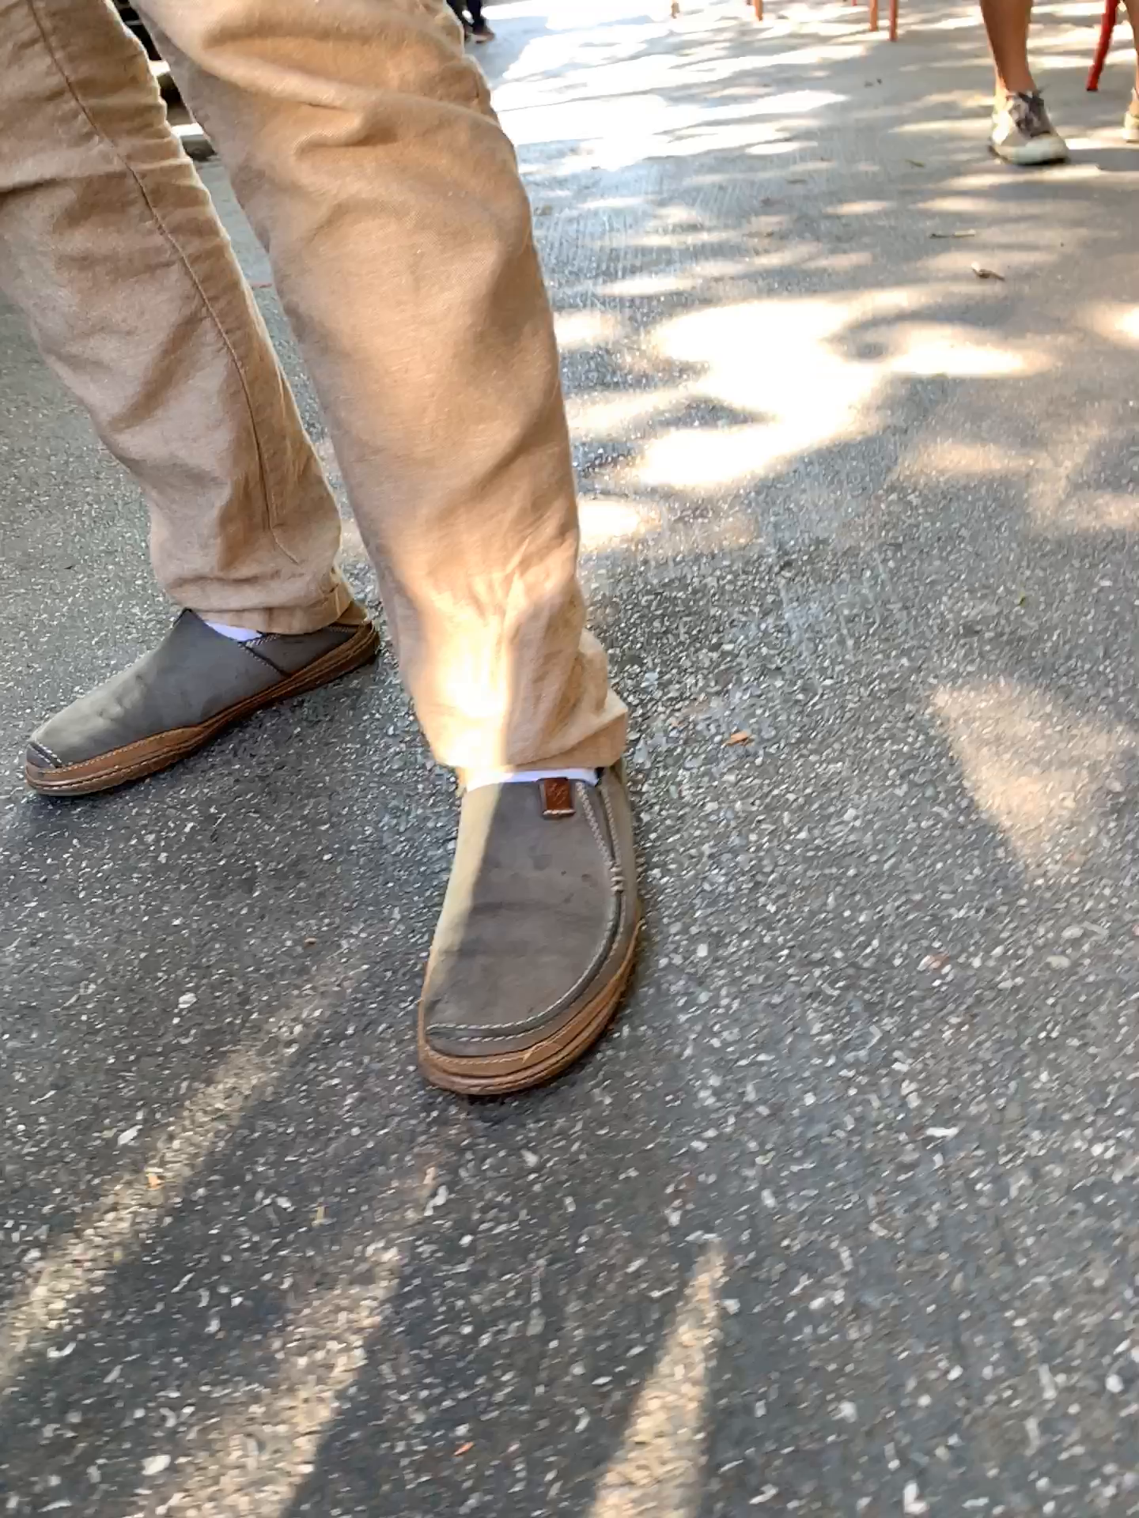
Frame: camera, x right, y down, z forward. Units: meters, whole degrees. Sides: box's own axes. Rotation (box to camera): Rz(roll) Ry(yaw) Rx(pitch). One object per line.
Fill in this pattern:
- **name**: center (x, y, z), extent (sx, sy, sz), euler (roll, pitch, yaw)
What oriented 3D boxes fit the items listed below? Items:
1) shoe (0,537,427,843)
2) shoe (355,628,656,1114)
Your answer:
- **shoe**: center (-0.274, -0.066, 0.884), extent (0.320, 0.060, 0.121), euler (-35, 41, -31)
- **shoe**: center (-0.018, 0.044, 0.670), extent (0.120, 0.079, 0.322), euler (-5, 35, 9)
